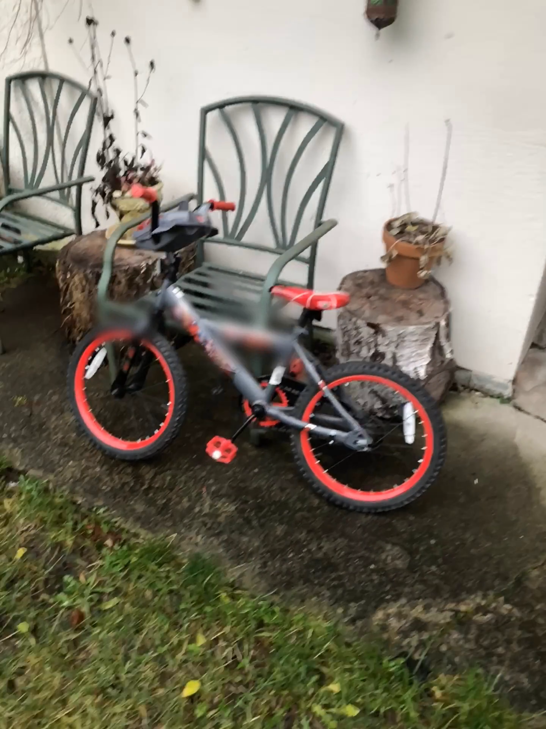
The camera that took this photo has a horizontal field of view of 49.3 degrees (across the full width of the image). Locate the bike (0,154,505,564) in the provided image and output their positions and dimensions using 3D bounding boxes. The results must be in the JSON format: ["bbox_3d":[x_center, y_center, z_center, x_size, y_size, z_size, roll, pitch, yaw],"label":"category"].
[{"bbox_3d":[-0.058,-0.076,1.759,1.200,0.853,0.603,10,35,17],"label":"bike"}]
